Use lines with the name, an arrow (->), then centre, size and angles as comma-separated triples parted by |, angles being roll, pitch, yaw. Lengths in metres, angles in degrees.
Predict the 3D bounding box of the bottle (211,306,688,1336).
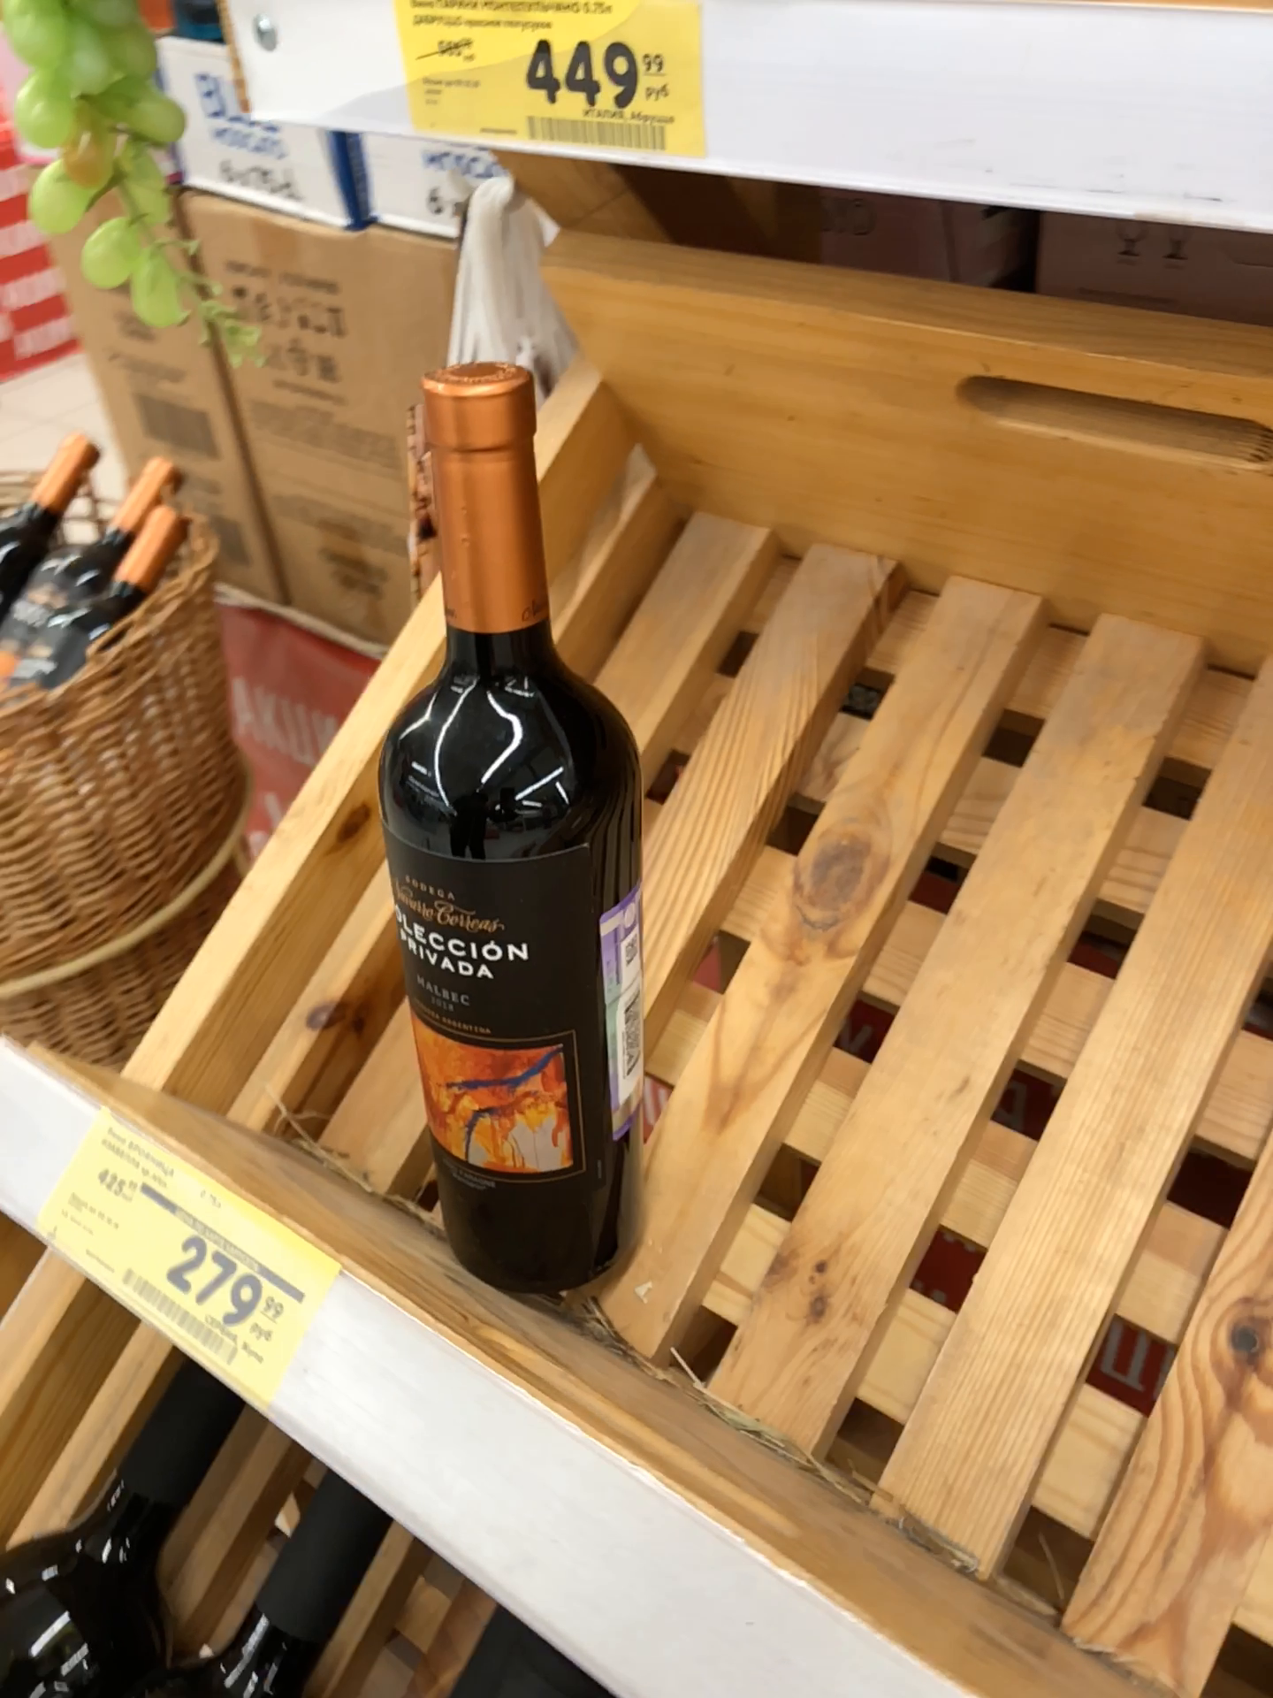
bottle -> -0.044, -0.001, 0.424 | 0.087, 0.289, 0.080 | -1, 30, 1
